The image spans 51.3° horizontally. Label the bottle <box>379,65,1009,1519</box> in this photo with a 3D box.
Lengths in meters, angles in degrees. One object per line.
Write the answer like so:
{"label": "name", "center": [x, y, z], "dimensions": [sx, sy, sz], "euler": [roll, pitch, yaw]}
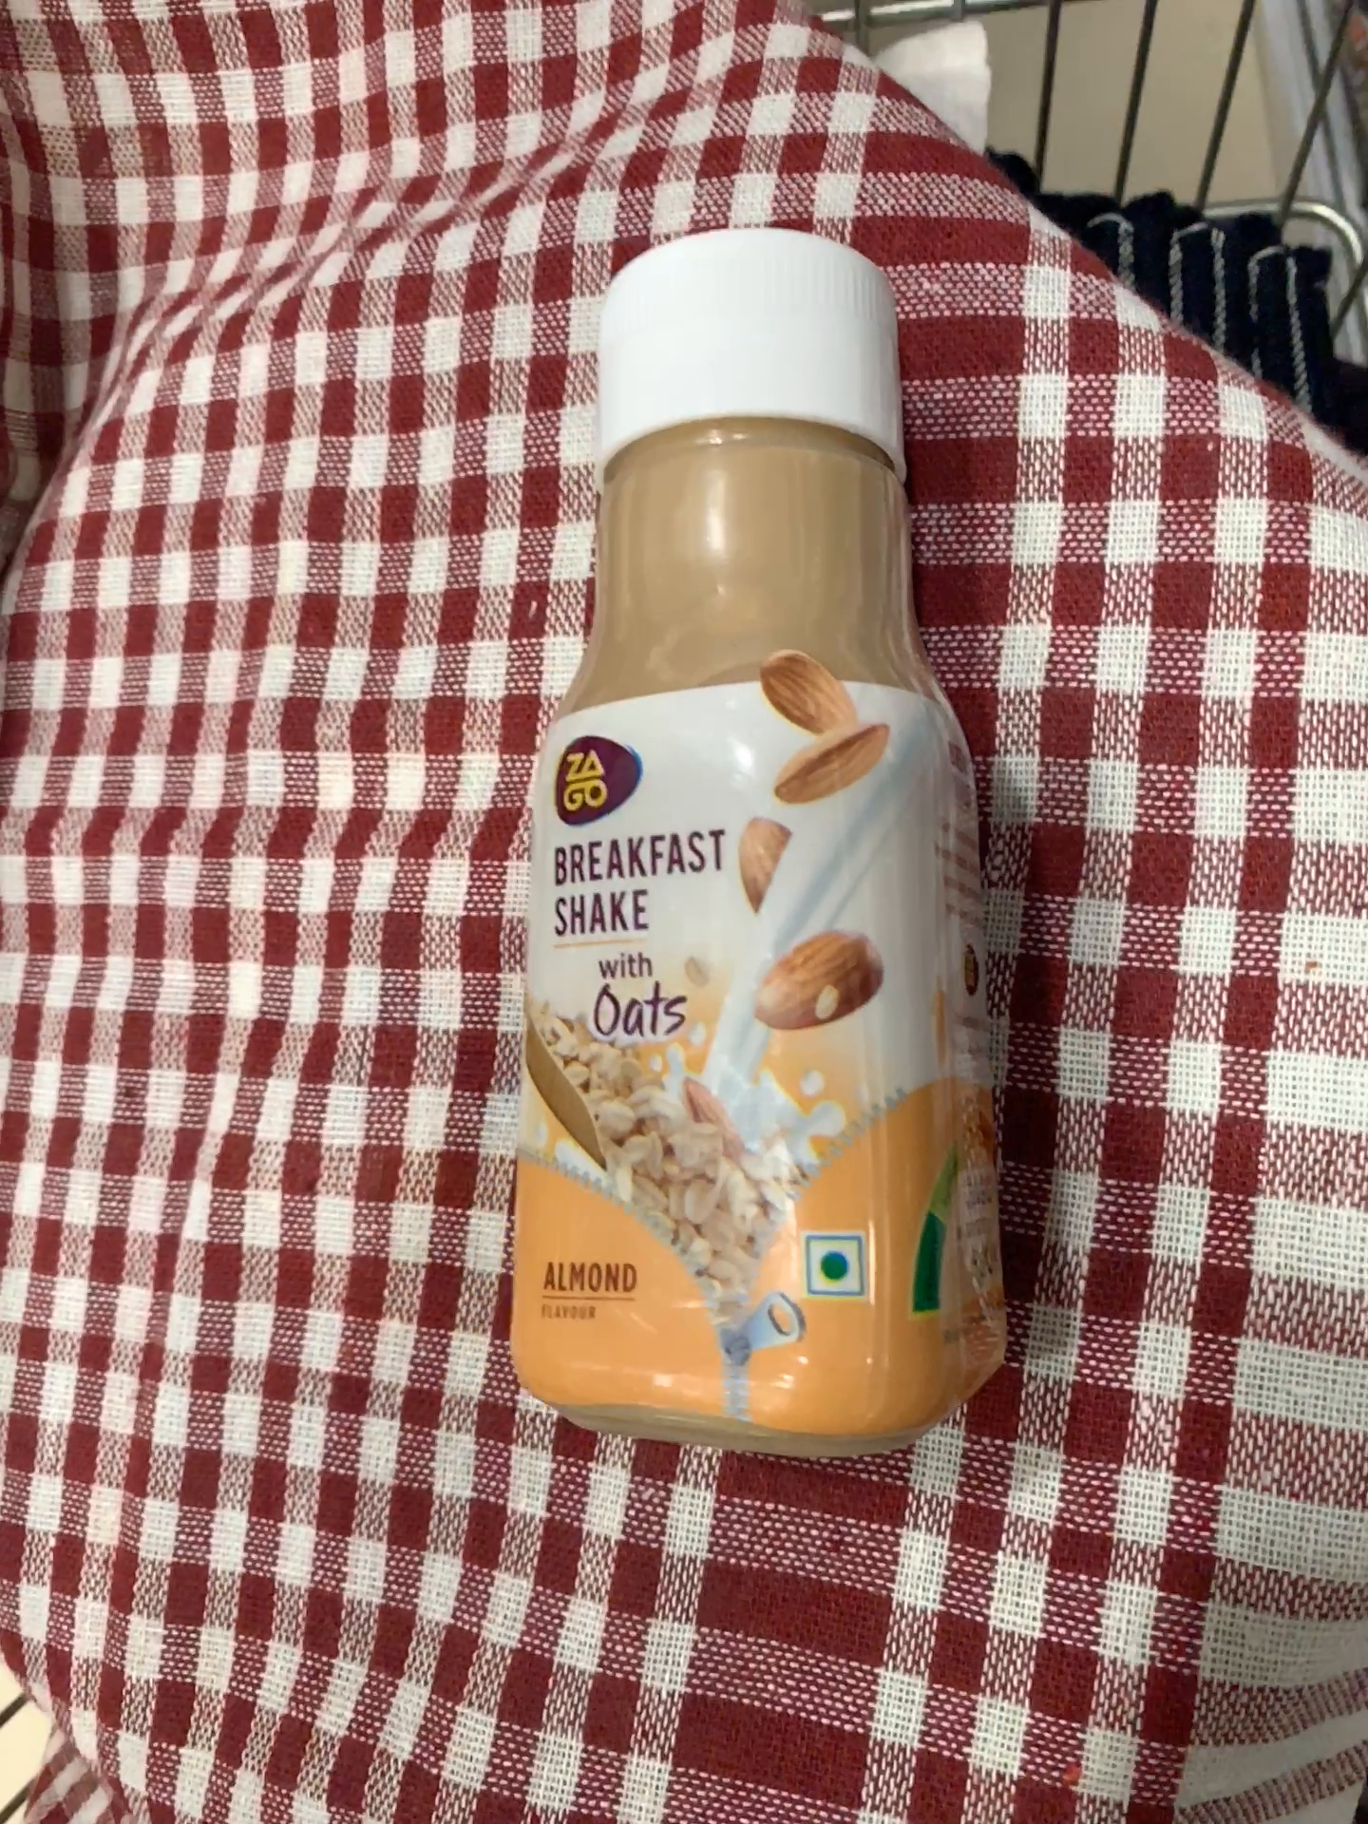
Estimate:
{"label": "bottle", "center": [0.004, -0.011, 0.170], "dimensions": [0.060, 0.050, 0.140], "euler": [-2, 88, 17]}
